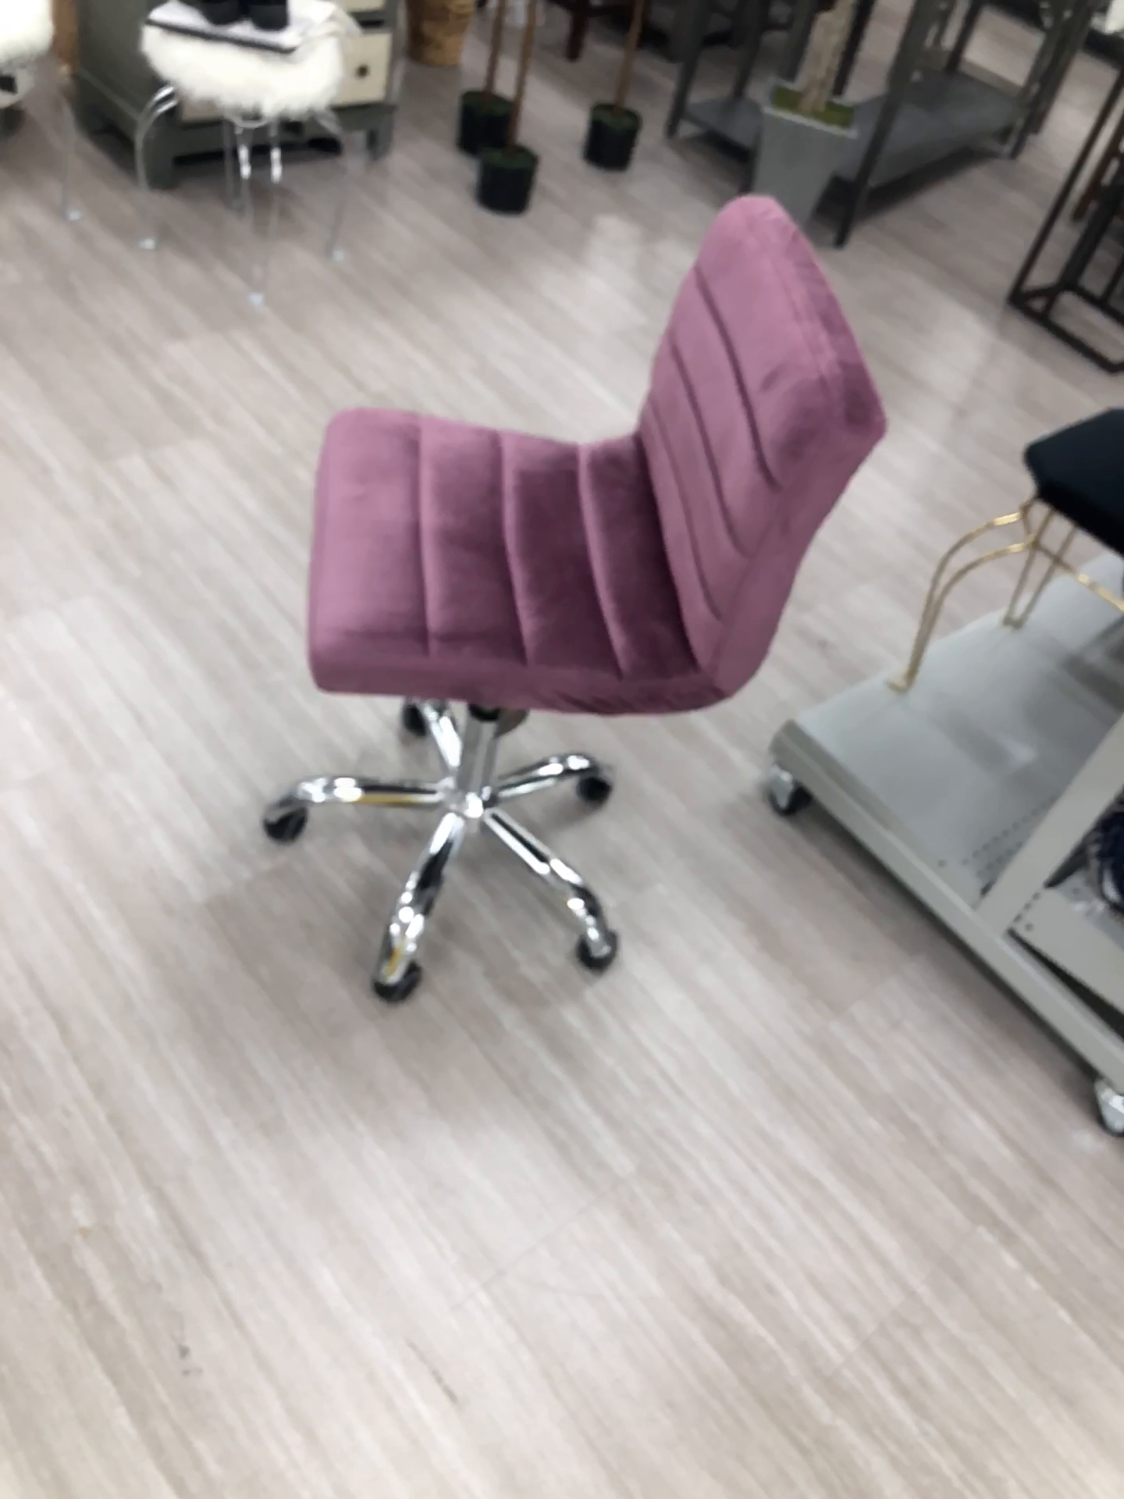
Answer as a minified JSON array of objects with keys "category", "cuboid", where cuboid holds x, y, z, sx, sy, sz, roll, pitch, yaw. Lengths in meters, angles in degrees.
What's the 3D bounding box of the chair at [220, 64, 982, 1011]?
[{"category":"chair","cuboid":[-0.067,-0.181,1.396,0.577,0.800,0.589,2,47,-14]}]
